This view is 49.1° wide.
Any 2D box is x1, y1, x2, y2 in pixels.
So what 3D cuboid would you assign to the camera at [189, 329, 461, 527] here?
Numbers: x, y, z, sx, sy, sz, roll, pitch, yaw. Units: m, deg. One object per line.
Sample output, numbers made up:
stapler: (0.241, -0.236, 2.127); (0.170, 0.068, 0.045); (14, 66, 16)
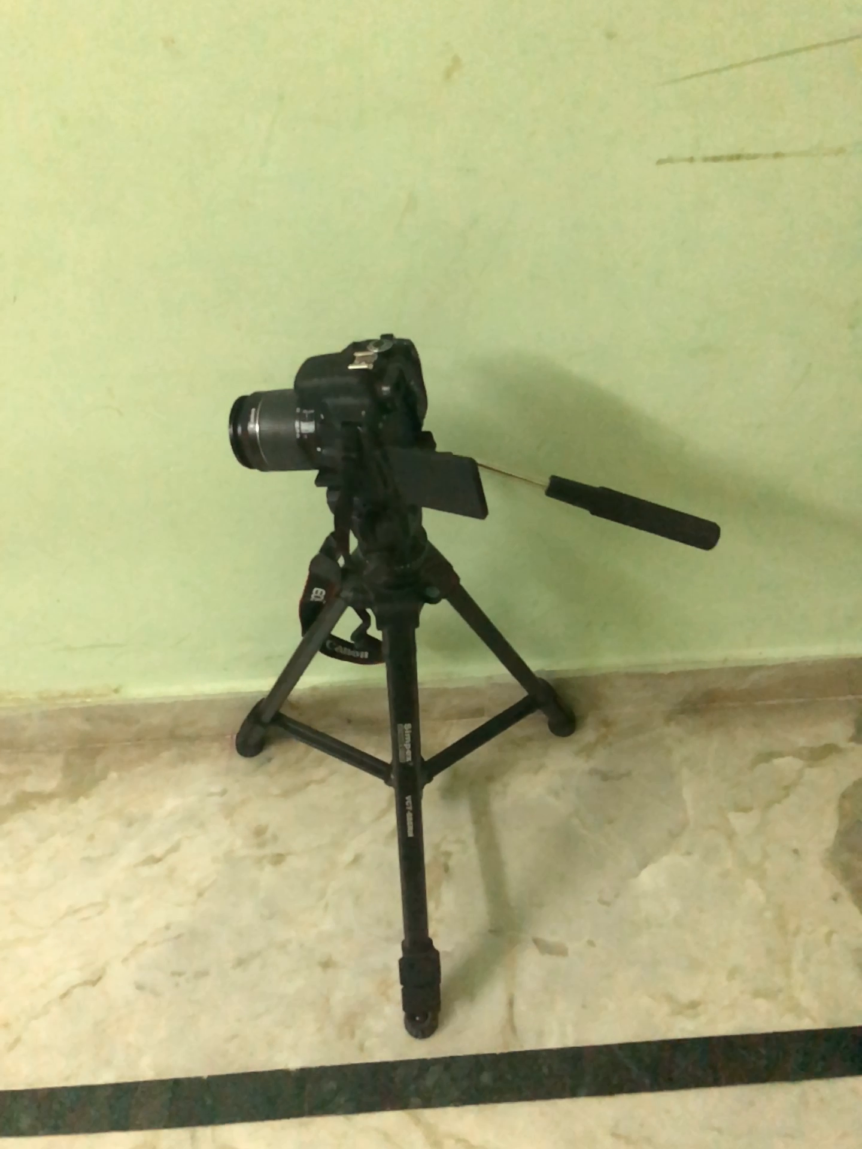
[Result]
camera: (-0.079, -0.122, 0.791); (0.190, 0.099, 0.131); (0, 46, 9)
